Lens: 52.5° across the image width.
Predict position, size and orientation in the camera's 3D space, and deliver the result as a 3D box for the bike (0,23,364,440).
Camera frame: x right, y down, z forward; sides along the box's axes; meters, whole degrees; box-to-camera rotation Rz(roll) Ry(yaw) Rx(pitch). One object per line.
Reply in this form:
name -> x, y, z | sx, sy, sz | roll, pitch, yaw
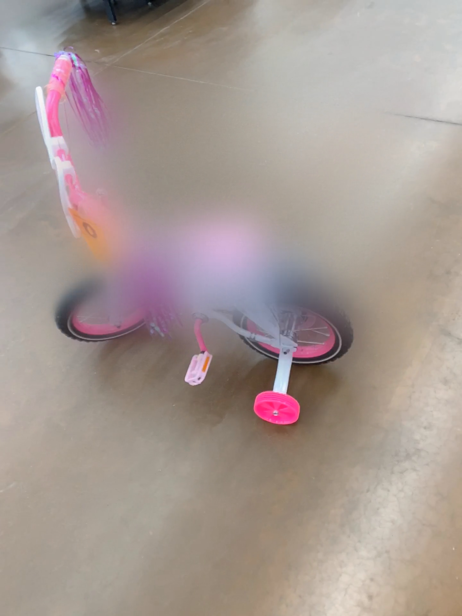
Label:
bike -> -0.112, -0.123, 1.042 | 0.725, 0.648, 0.502 | 1, 50, 16
